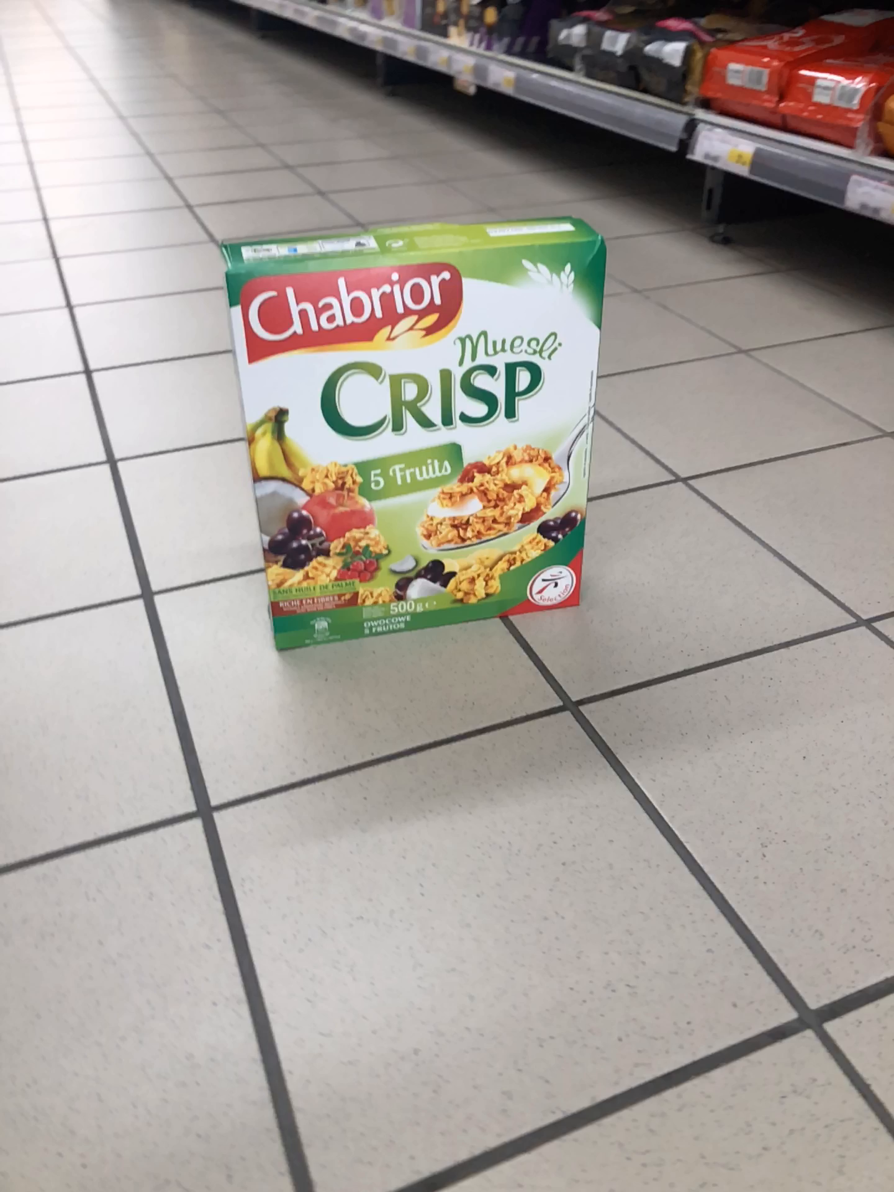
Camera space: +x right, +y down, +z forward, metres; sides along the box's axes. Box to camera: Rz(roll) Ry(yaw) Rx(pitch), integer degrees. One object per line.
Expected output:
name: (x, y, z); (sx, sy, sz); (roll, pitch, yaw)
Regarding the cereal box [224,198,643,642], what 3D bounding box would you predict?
cereal box: (-0.007, -0.094, 0.548); (0.200, 0.219, 0.060); (-8, 35, -11)
